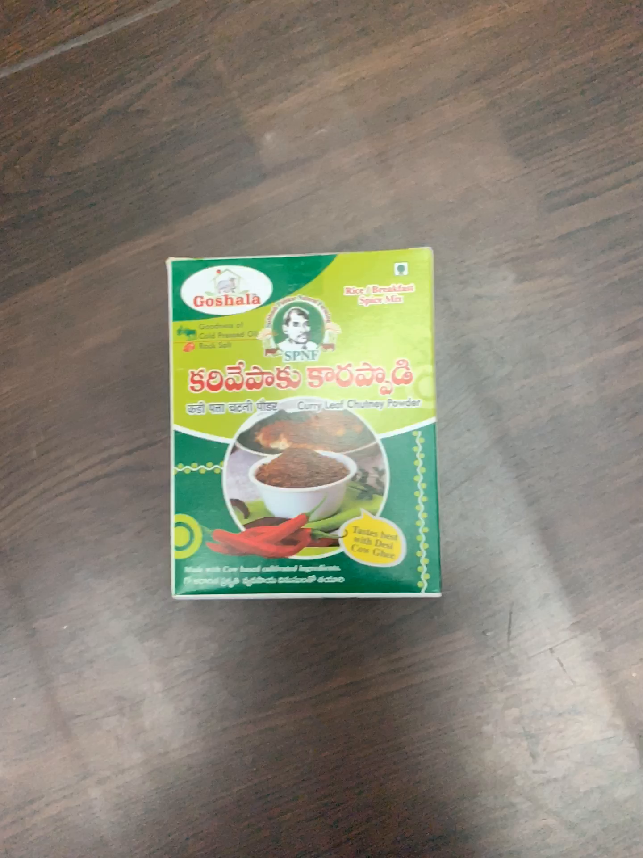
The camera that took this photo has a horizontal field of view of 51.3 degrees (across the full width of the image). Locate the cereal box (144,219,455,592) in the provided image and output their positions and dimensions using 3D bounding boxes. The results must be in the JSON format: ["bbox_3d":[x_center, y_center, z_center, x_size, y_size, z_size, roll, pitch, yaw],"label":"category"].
[{"bbox_3d":[-0.008,-0.006,0.242,0.100,0.040,0.120,-3,85,6],"label":"cereal box"}]
